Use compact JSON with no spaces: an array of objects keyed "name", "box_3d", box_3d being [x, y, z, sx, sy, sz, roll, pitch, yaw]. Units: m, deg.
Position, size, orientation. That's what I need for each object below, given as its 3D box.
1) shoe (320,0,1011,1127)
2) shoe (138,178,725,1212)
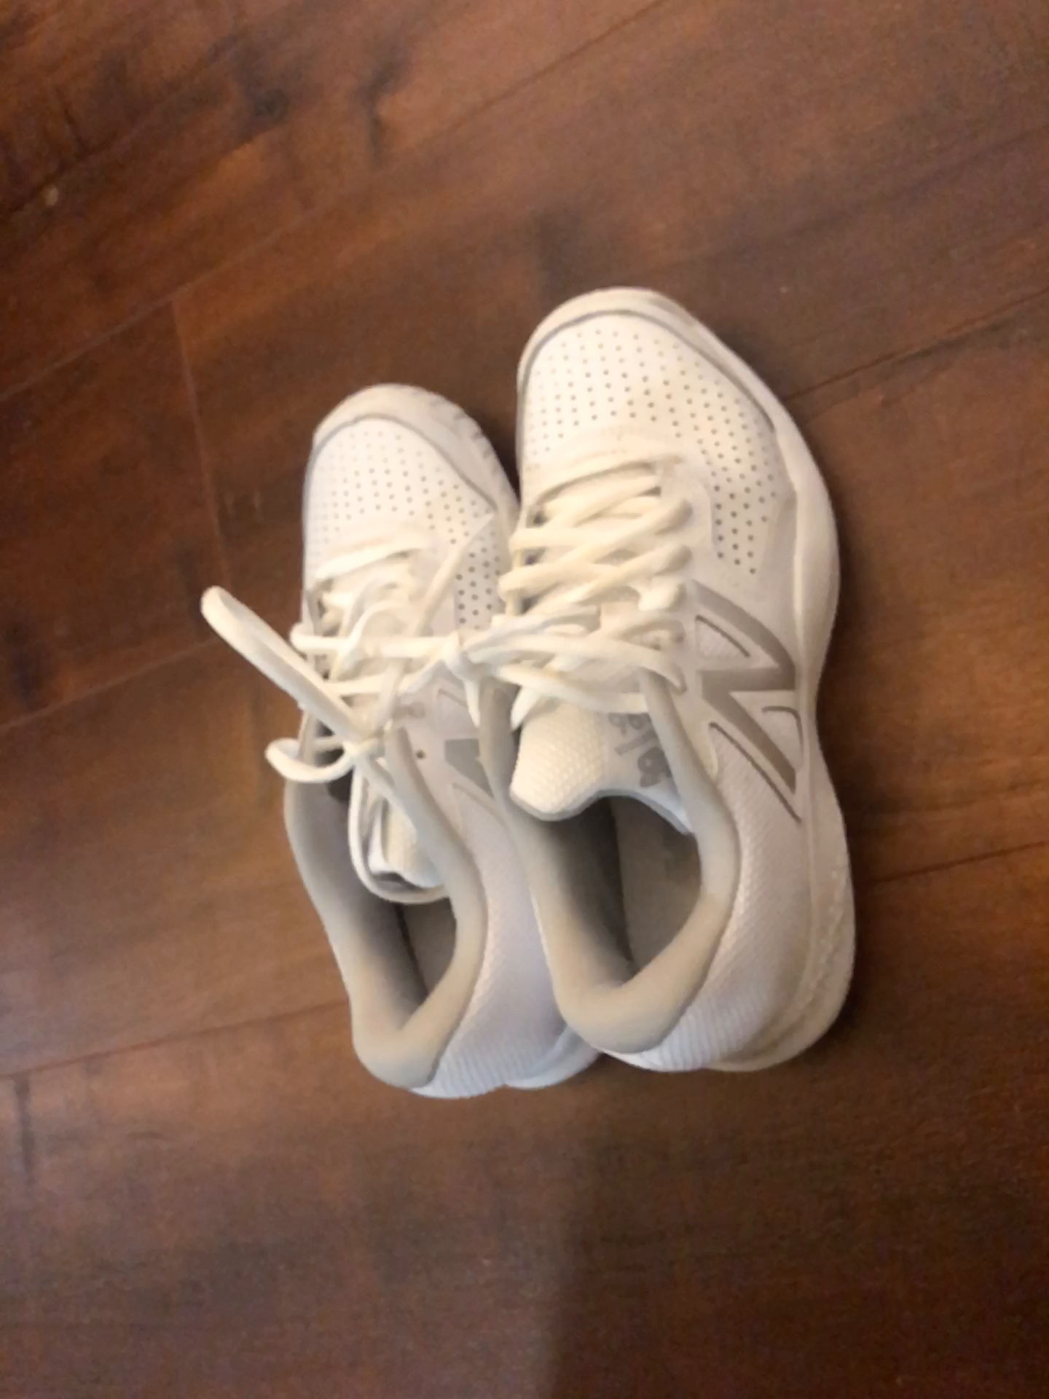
[{"name":"shoe","box_3d":[0.054,-0.040,0.398,0.120,0.169,0.310,-15,80,29]},{"name":"shoe","box_3d":[-0.032,0.000,0.425,0.100,0.129,0.310,-17,79,26]}]
